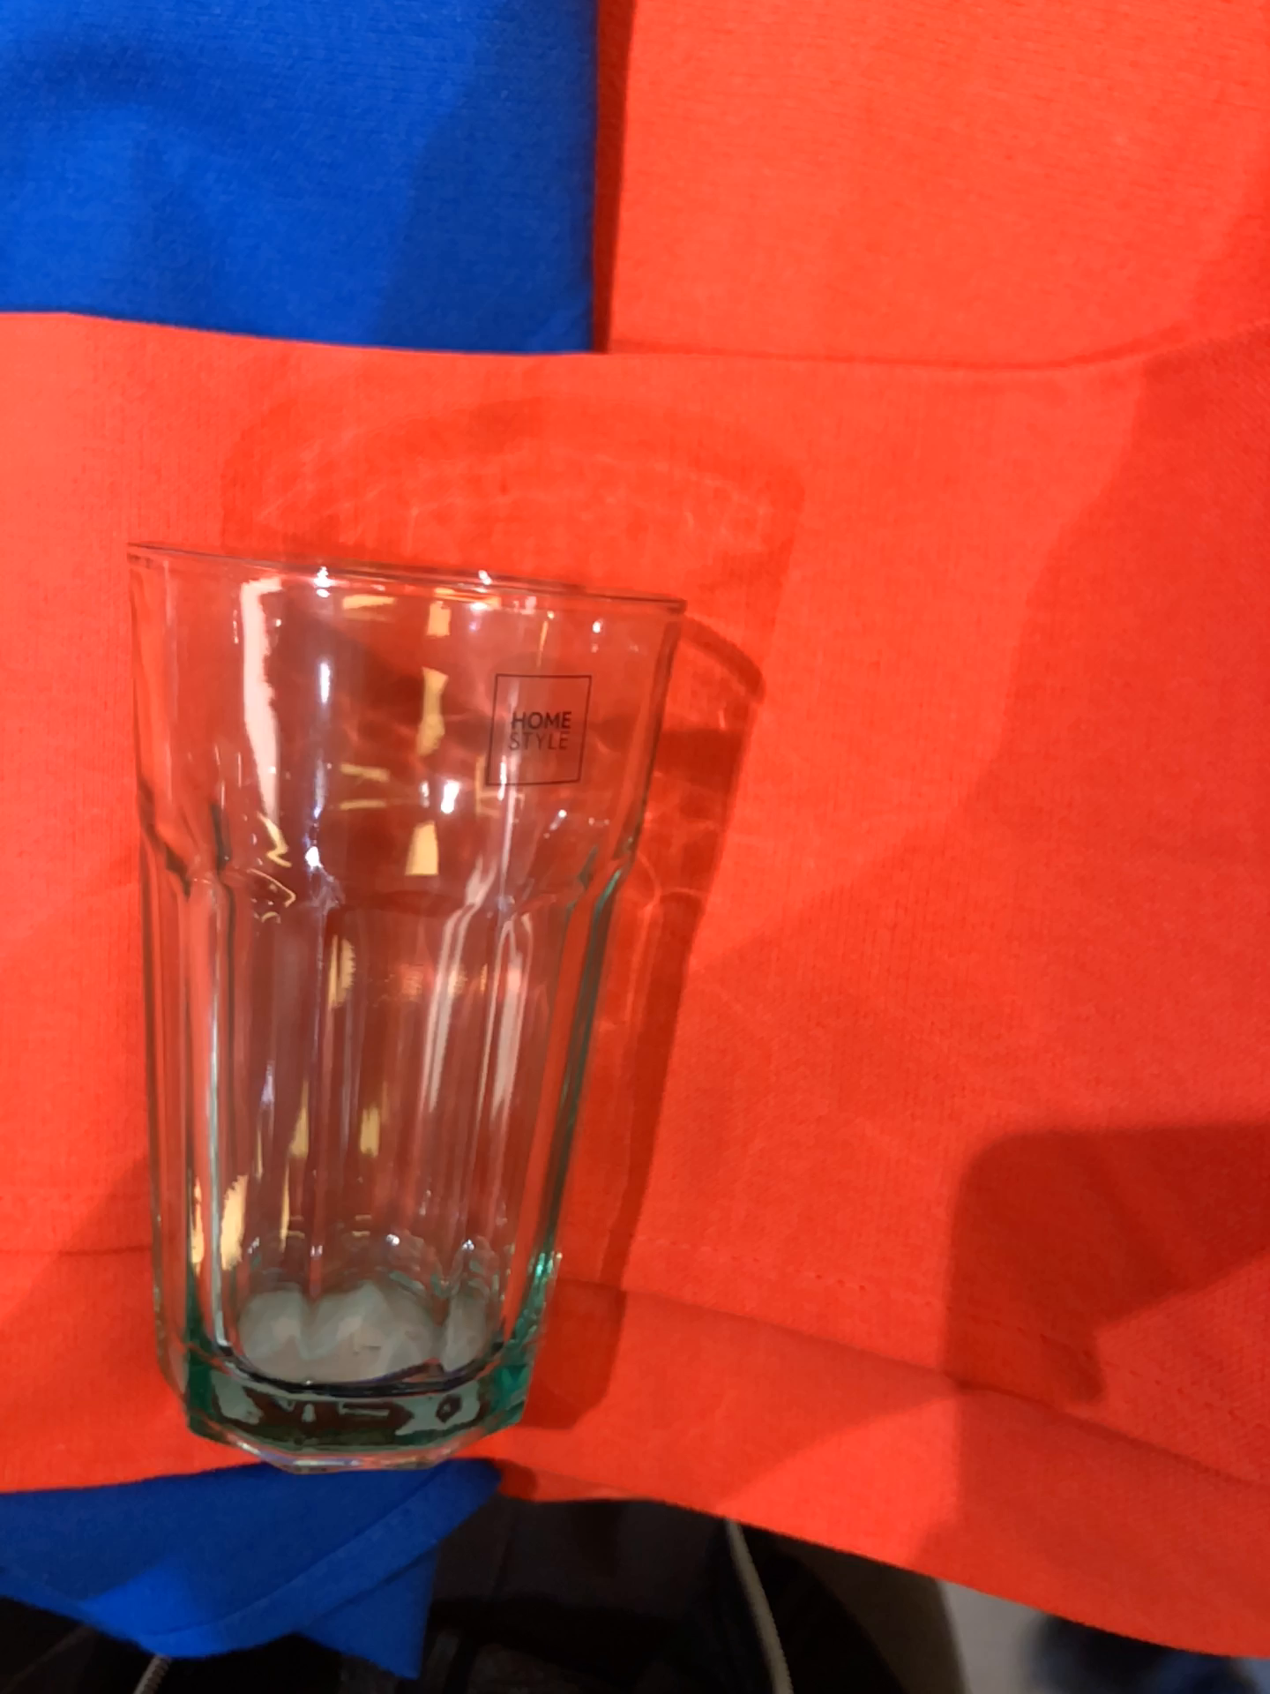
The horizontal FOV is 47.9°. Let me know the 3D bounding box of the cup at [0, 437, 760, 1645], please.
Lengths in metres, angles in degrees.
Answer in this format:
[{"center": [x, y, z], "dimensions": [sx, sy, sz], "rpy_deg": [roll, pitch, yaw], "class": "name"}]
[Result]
[{"center": [-0.035, 0.024, 0.219], "dimensions": [0.090, 0.070, 0.150], "rpy_deg": [7, 99, 4], "class": "cup"}]
